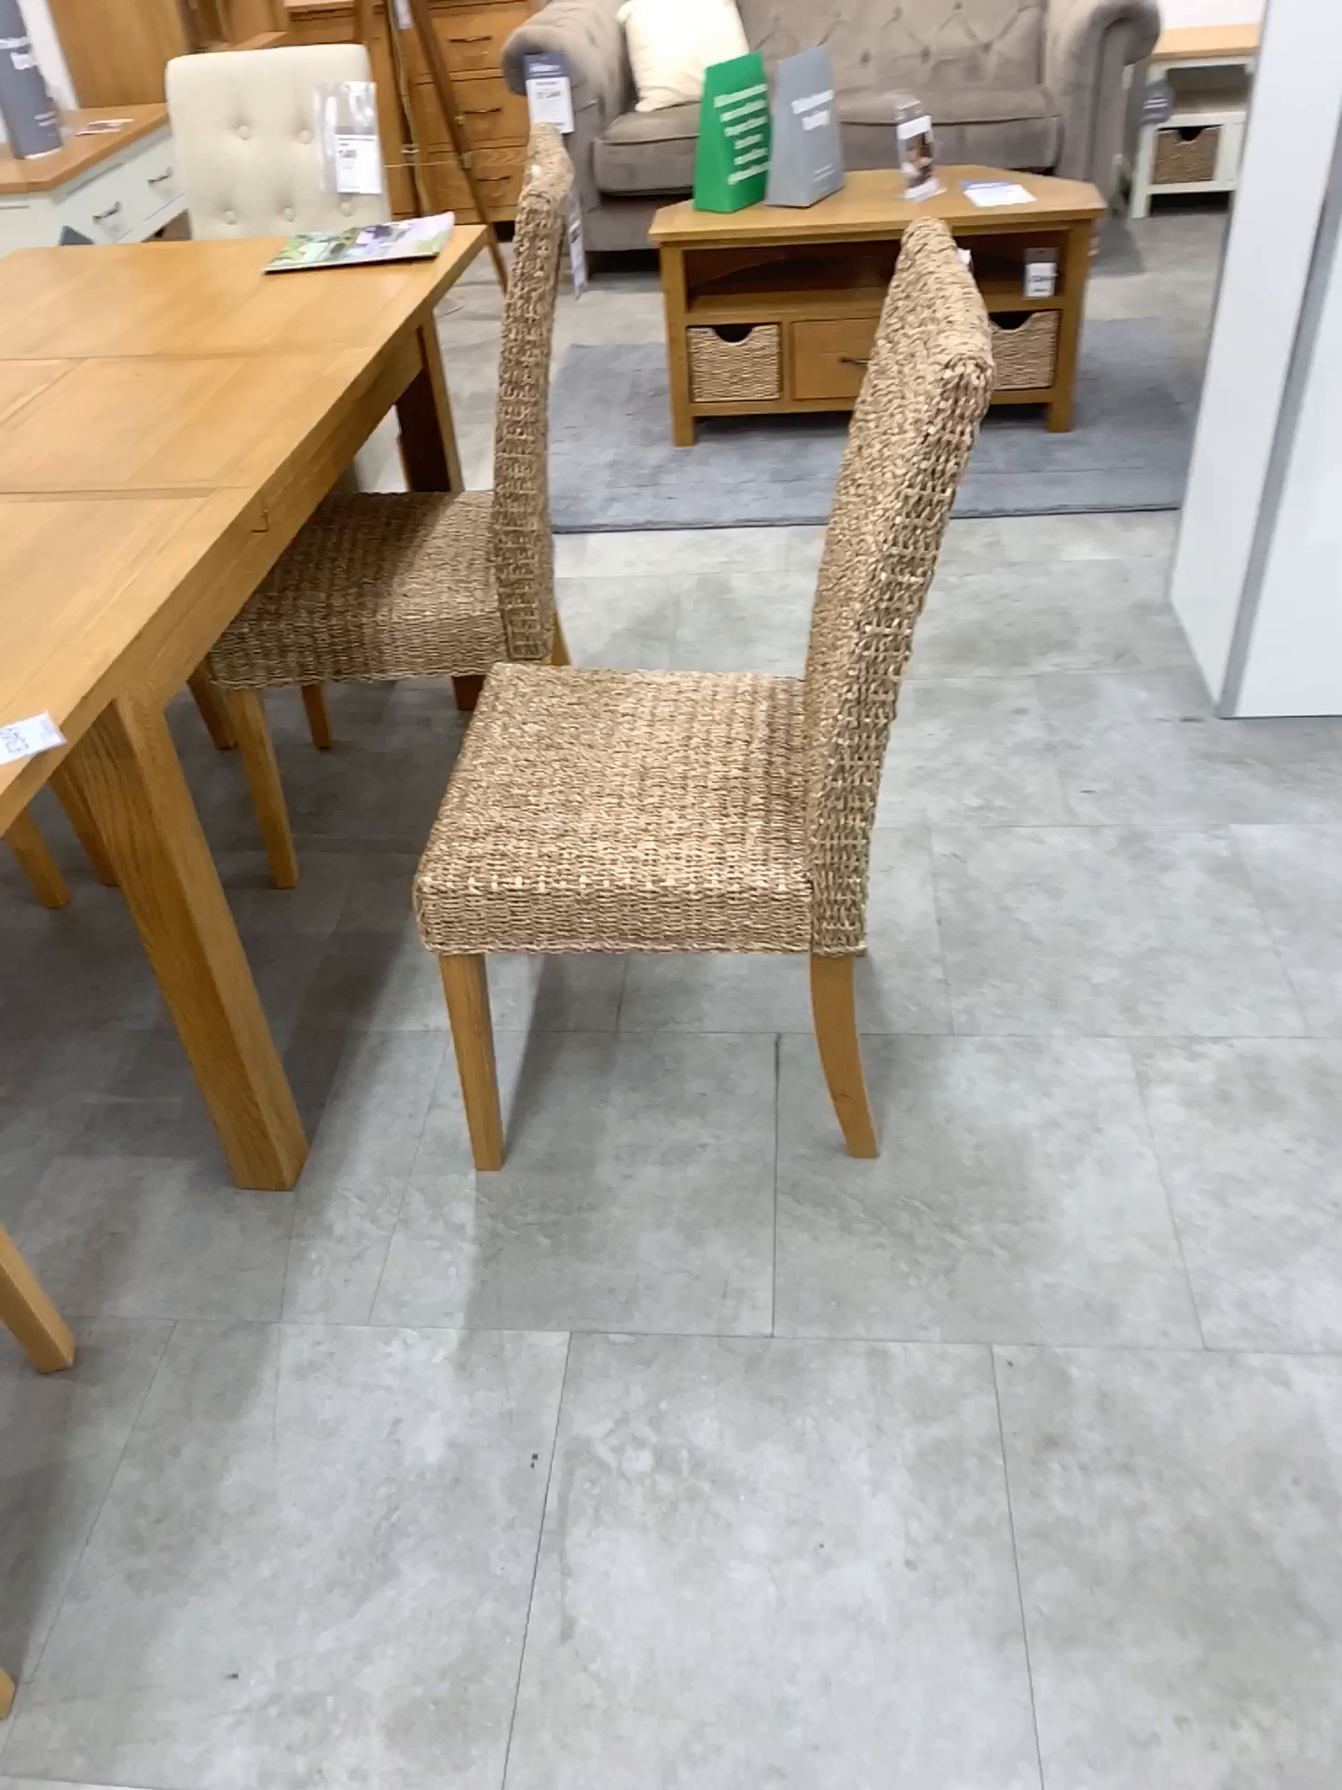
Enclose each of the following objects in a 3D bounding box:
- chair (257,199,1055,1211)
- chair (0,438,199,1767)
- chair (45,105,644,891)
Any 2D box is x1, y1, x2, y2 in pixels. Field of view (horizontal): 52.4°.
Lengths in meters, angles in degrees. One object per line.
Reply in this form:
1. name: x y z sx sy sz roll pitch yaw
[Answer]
1. chair: 0.030 -0.155 1.427 0.562 0.903 0.492 -2 39 5
2. chair: -0.771 0.210 1.007 0.512 0.903 0.401 -8 39 -2
3. chair: -0.360 -0.517 1.884 0.552 0.893 0.441 -5 39 0
